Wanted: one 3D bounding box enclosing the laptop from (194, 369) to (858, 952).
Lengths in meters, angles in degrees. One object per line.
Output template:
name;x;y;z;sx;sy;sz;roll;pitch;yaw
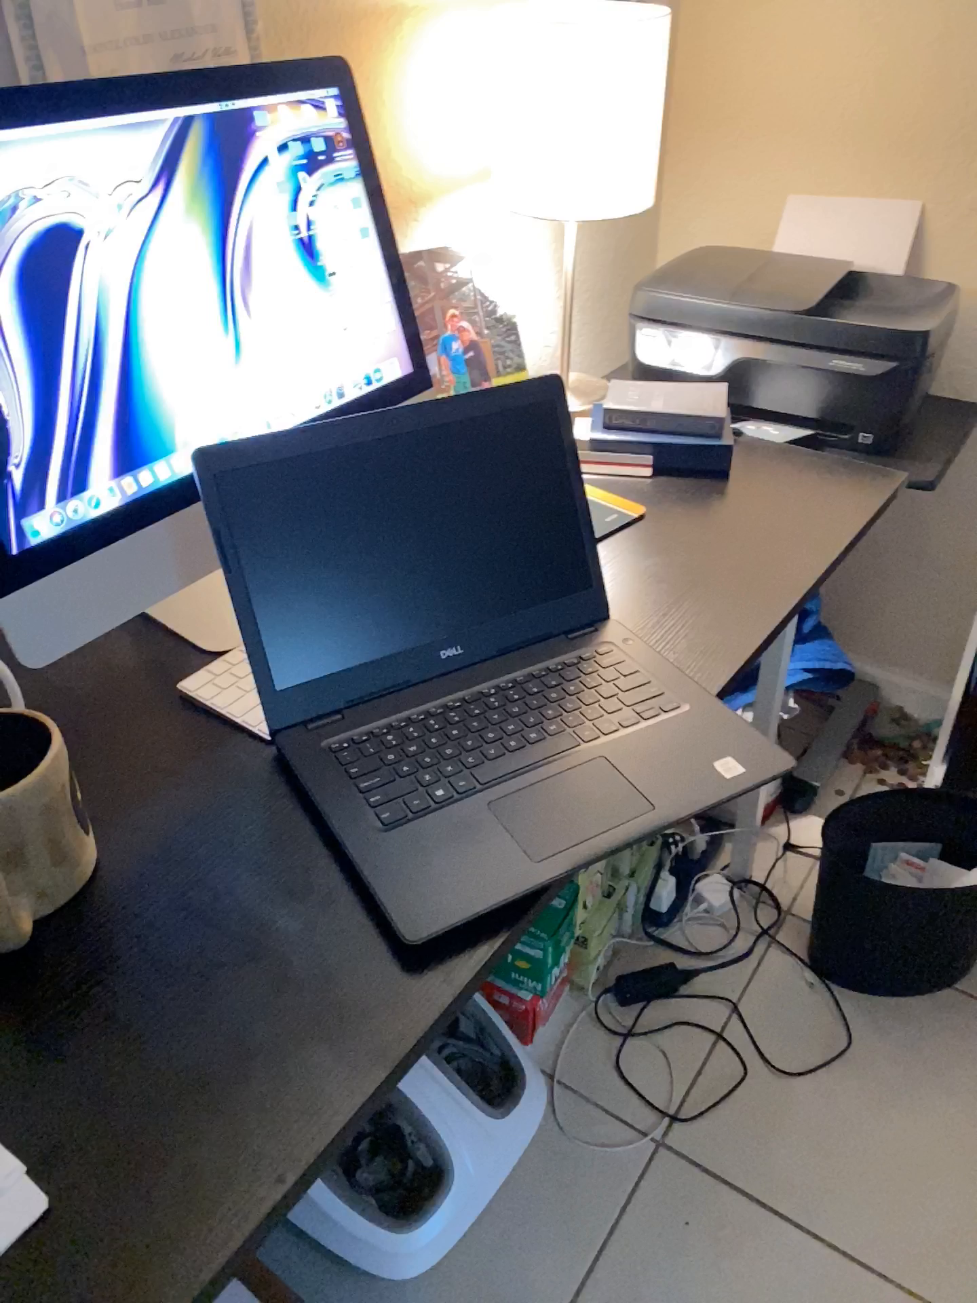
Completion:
laptop;0.010;-0.032;0.761;0.337;0.206;0.344;-19;39;-24
